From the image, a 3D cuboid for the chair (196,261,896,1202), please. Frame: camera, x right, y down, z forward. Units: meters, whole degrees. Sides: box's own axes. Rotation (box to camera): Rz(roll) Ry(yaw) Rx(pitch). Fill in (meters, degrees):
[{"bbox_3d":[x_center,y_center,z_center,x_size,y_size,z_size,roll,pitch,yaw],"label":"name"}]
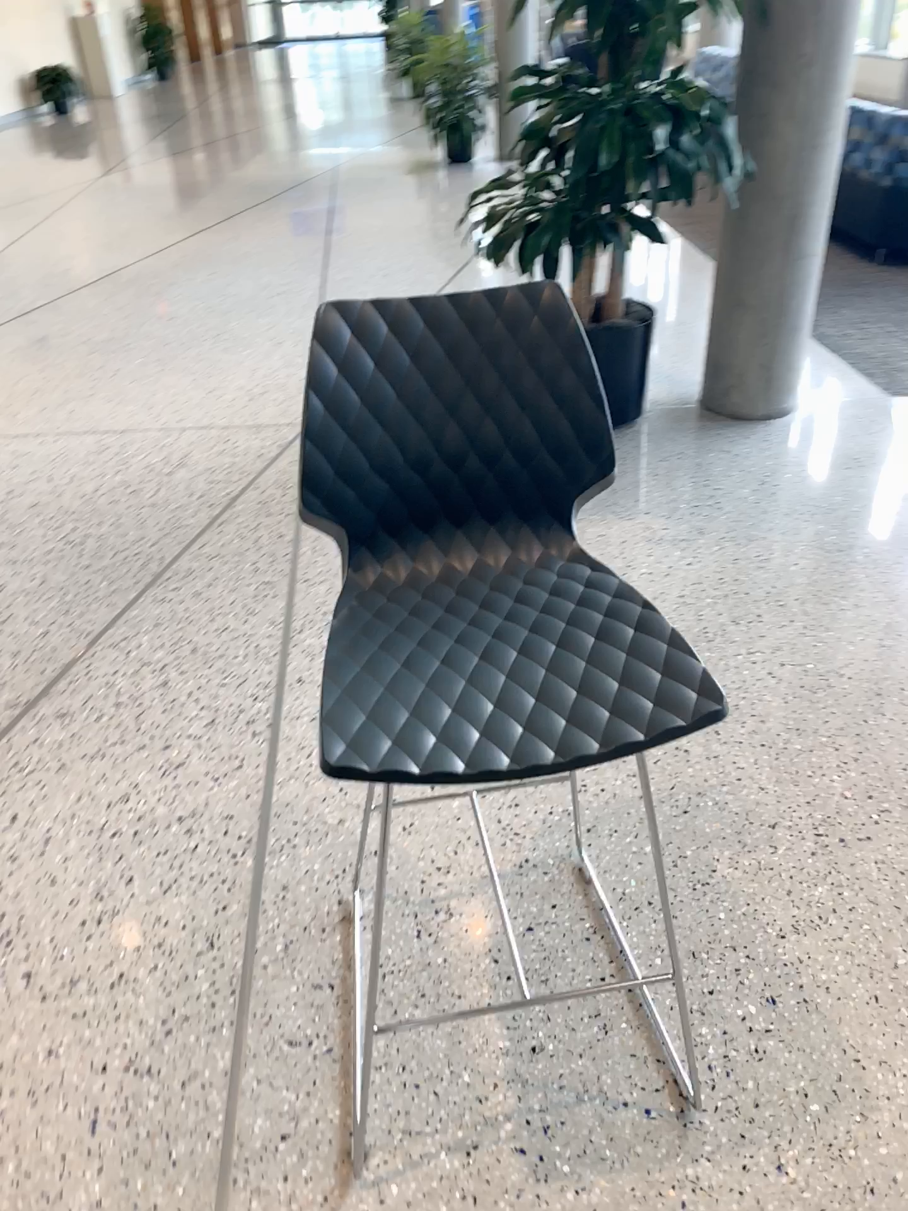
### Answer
[{"bbox_3d":[0.067,0.180,1.202,0.531,1.048,0.551,-6,33,-4],"label":"chair"}]
